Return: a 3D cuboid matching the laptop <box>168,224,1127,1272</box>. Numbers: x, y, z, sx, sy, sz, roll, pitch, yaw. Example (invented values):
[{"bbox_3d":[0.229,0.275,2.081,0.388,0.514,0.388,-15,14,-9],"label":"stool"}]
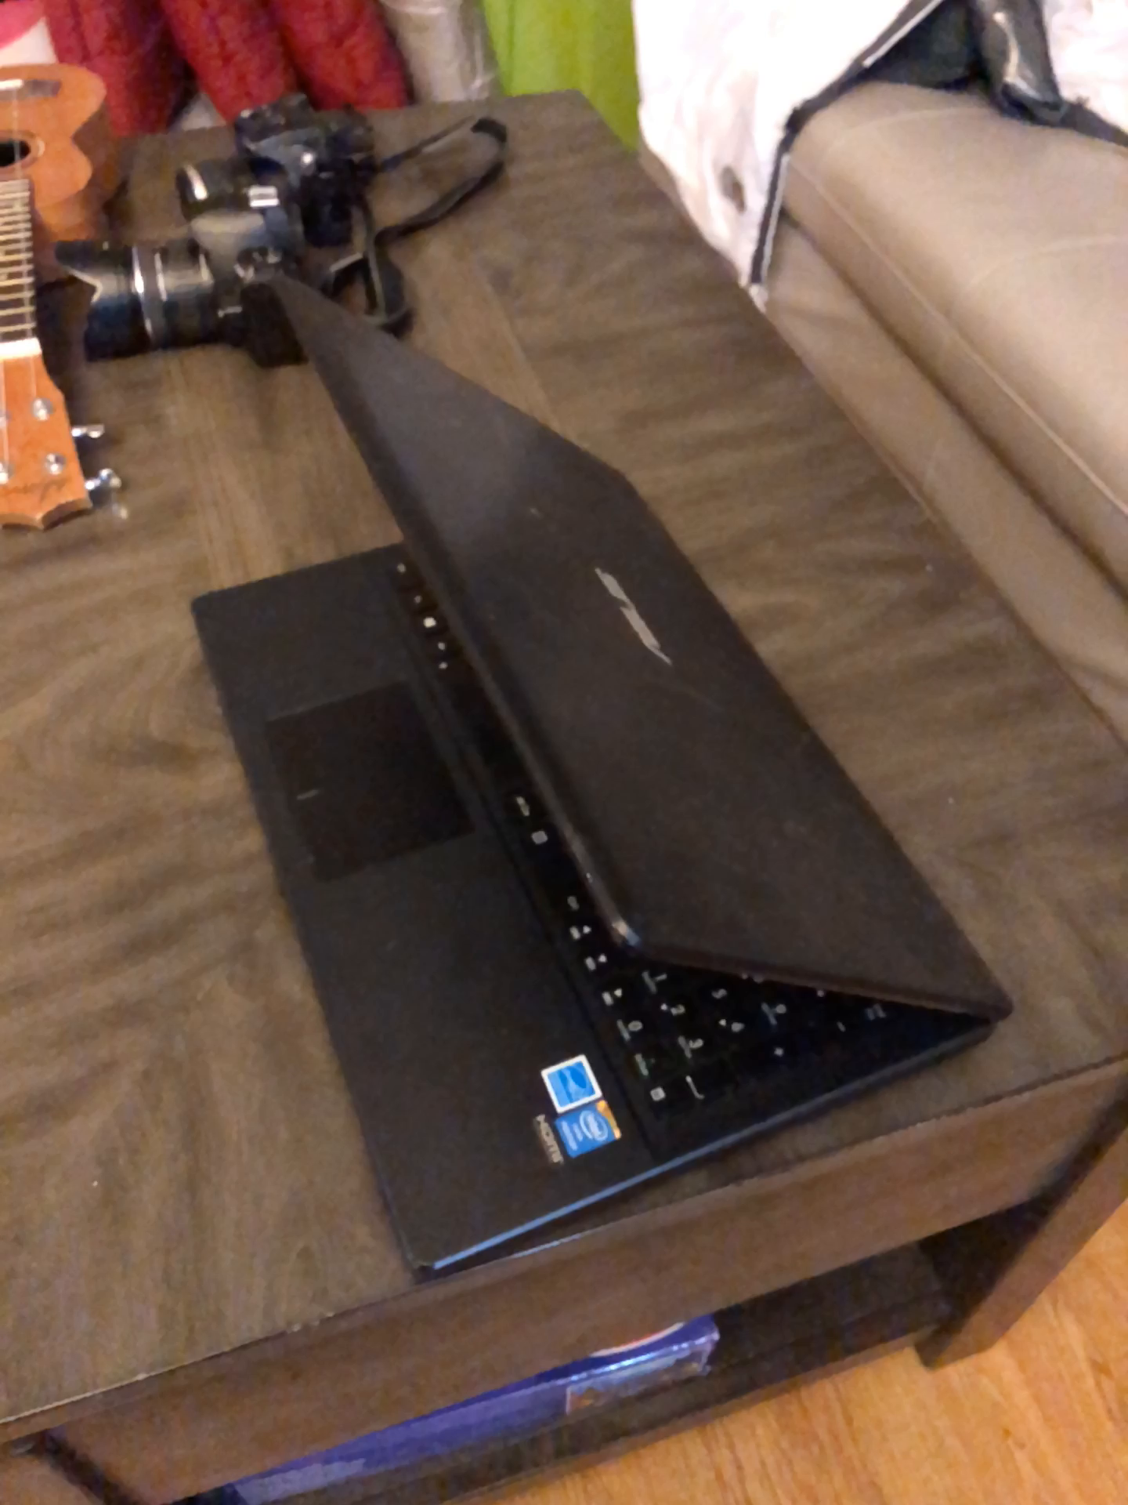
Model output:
[{"bbox_3d":[0.006,-0.036,0.526,0.238,0.164,0.374,-17,52,-15],"label":"laptop"}]
